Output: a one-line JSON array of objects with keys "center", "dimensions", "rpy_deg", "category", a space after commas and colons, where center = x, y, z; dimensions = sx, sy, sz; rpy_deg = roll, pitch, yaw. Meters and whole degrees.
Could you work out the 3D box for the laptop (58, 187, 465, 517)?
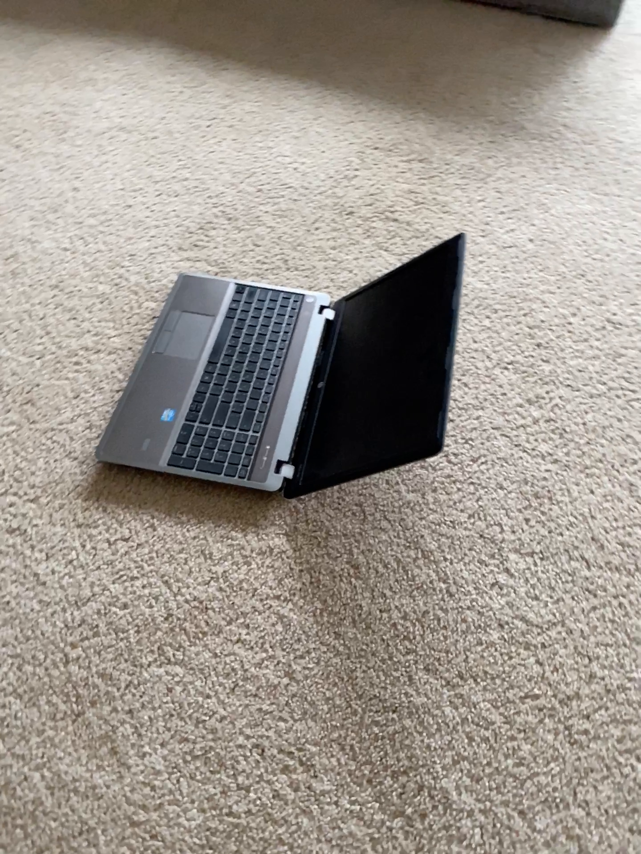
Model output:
[{"center": [-0.048, -0.118, 0.883], "dimensions": [0.435, 0.162, 0.376], "rpy_deg": [9, 55, 5], "category": "laptop"}]
